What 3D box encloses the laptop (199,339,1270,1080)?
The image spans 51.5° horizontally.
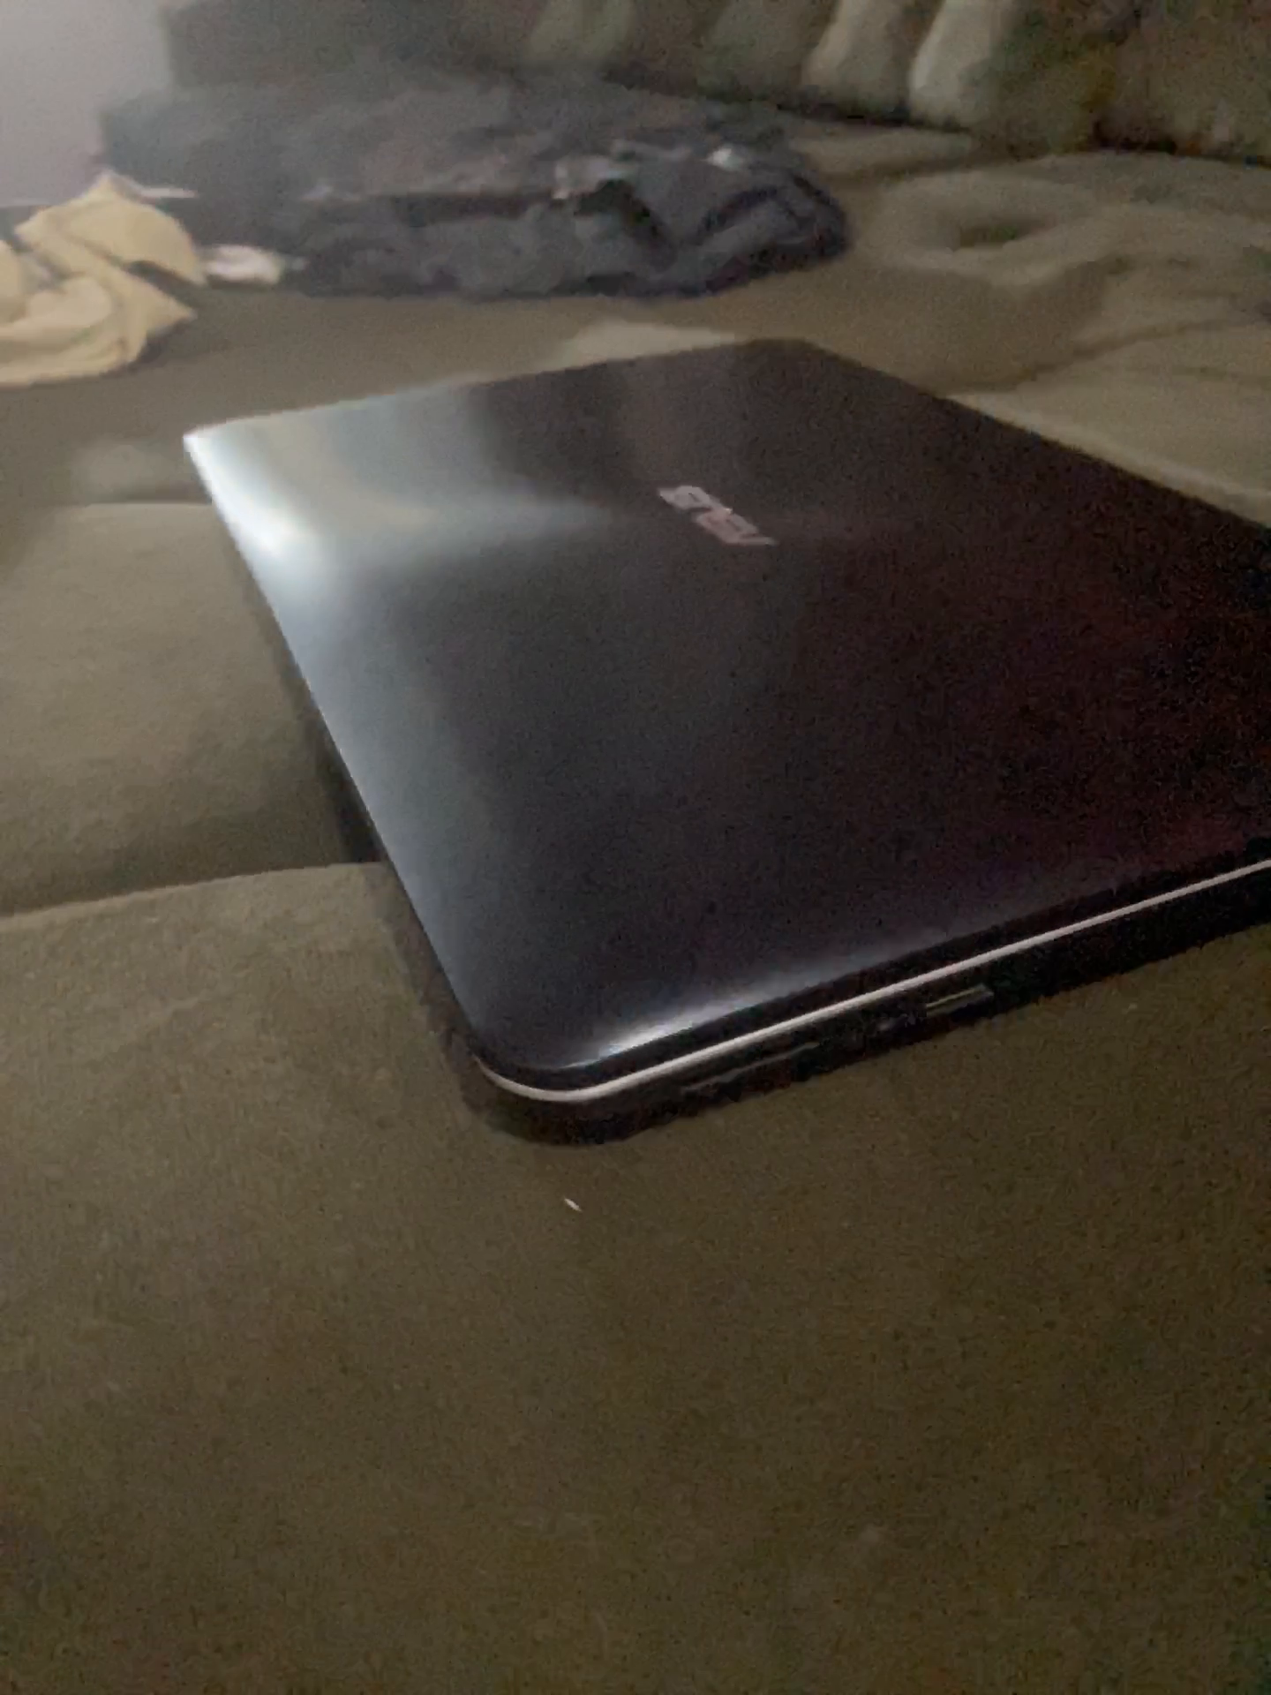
[{"bbox_3d":[0.015,-0.090,0.382,0.234,0.004,0.371,-15,36,-16],"label":"laptop"}]
